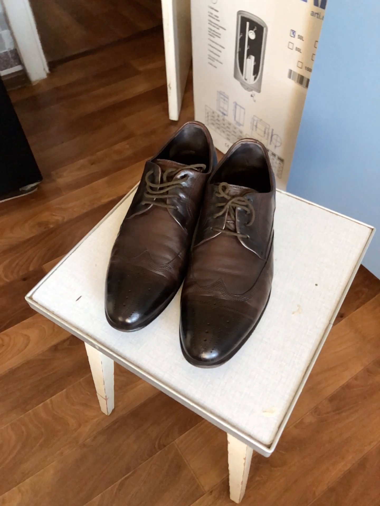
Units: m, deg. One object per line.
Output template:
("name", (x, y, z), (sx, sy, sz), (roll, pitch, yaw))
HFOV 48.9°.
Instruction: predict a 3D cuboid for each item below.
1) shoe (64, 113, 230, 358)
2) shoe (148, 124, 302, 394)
("shoe", (-0.032, -0.037, 0.512), (0.100, 0.099, 0.292), (11, 54, 10))
("shoe", (0.051, -0.011, 0.473), (0.100, 0.099, 0.292), (11, 54, 10))
